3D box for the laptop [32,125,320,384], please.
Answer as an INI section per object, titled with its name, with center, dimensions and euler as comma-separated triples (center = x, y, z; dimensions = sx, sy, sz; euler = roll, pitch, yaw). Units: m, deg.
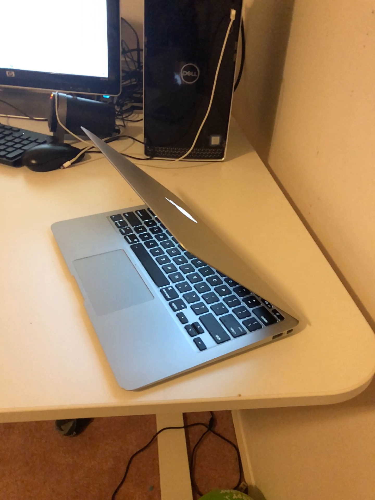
[laptop]
center = -0.038, -0.028, 0.455
dimensions = 0.181, 0.108, 0.287
euler = -15, 40, -24
